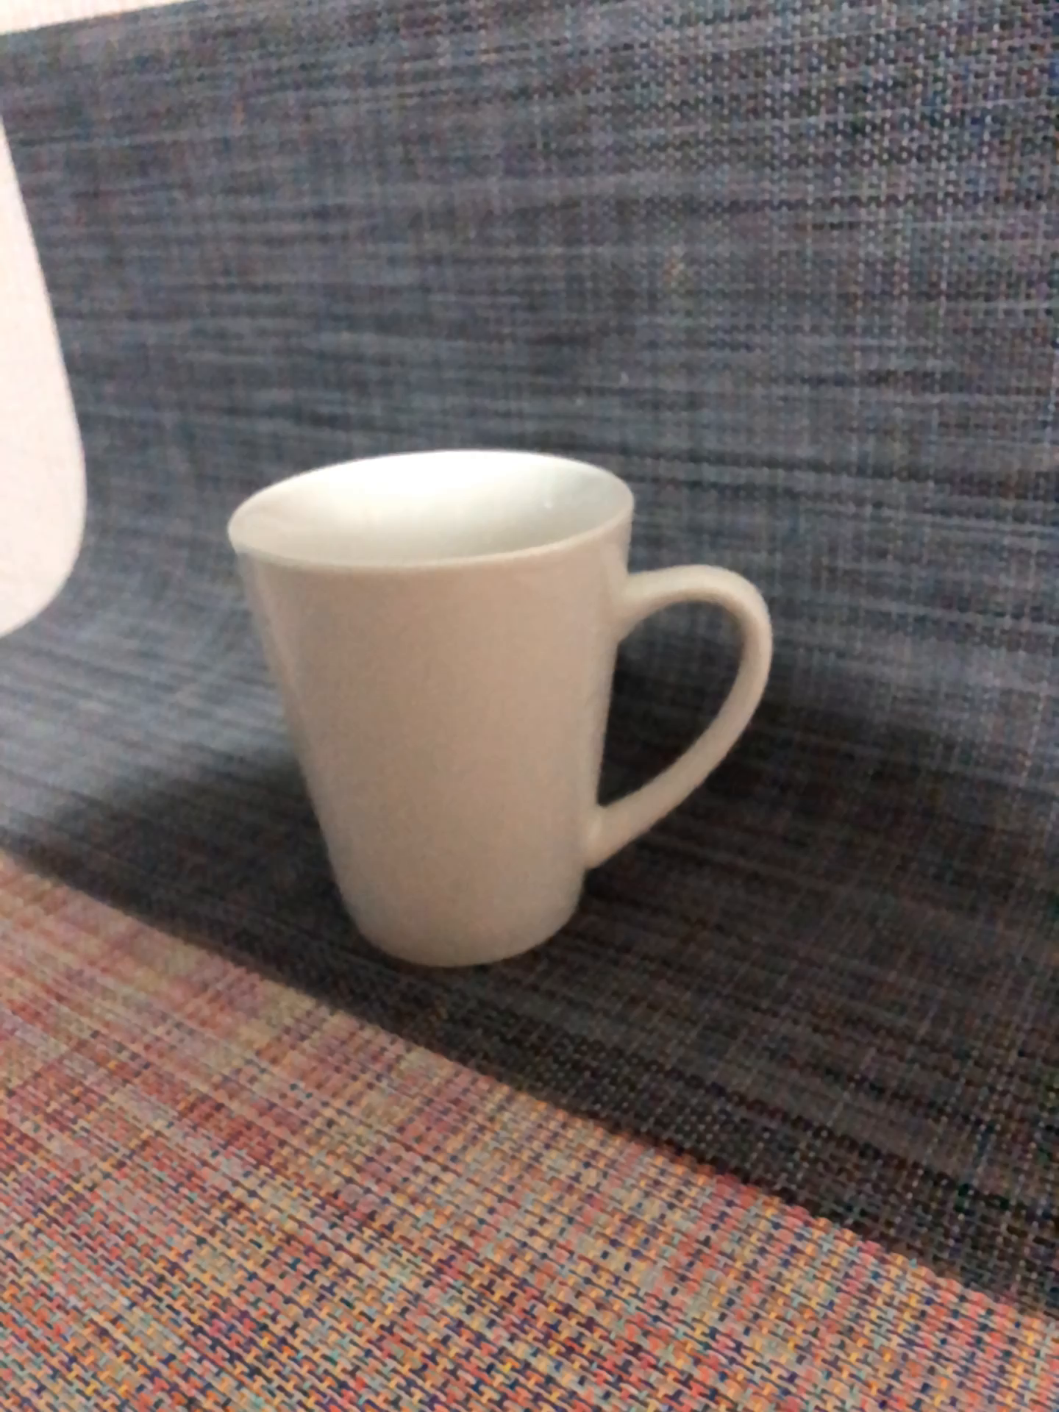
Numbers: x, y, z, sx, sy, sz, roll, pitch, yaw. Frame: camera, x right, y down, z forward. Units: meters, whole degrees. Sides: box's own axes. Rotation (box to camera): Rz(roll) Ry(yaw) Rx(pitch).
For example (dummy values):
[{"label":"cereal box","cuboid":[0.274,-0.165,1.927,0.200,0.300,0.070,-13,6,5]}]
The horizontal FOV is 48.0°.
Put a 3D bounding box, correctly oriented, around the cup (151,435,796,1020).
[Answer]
[{"label":"cup","cuboid":[-0.005,0.000,0.268,0.111,0.096,0.097,-1,25,5]}]
